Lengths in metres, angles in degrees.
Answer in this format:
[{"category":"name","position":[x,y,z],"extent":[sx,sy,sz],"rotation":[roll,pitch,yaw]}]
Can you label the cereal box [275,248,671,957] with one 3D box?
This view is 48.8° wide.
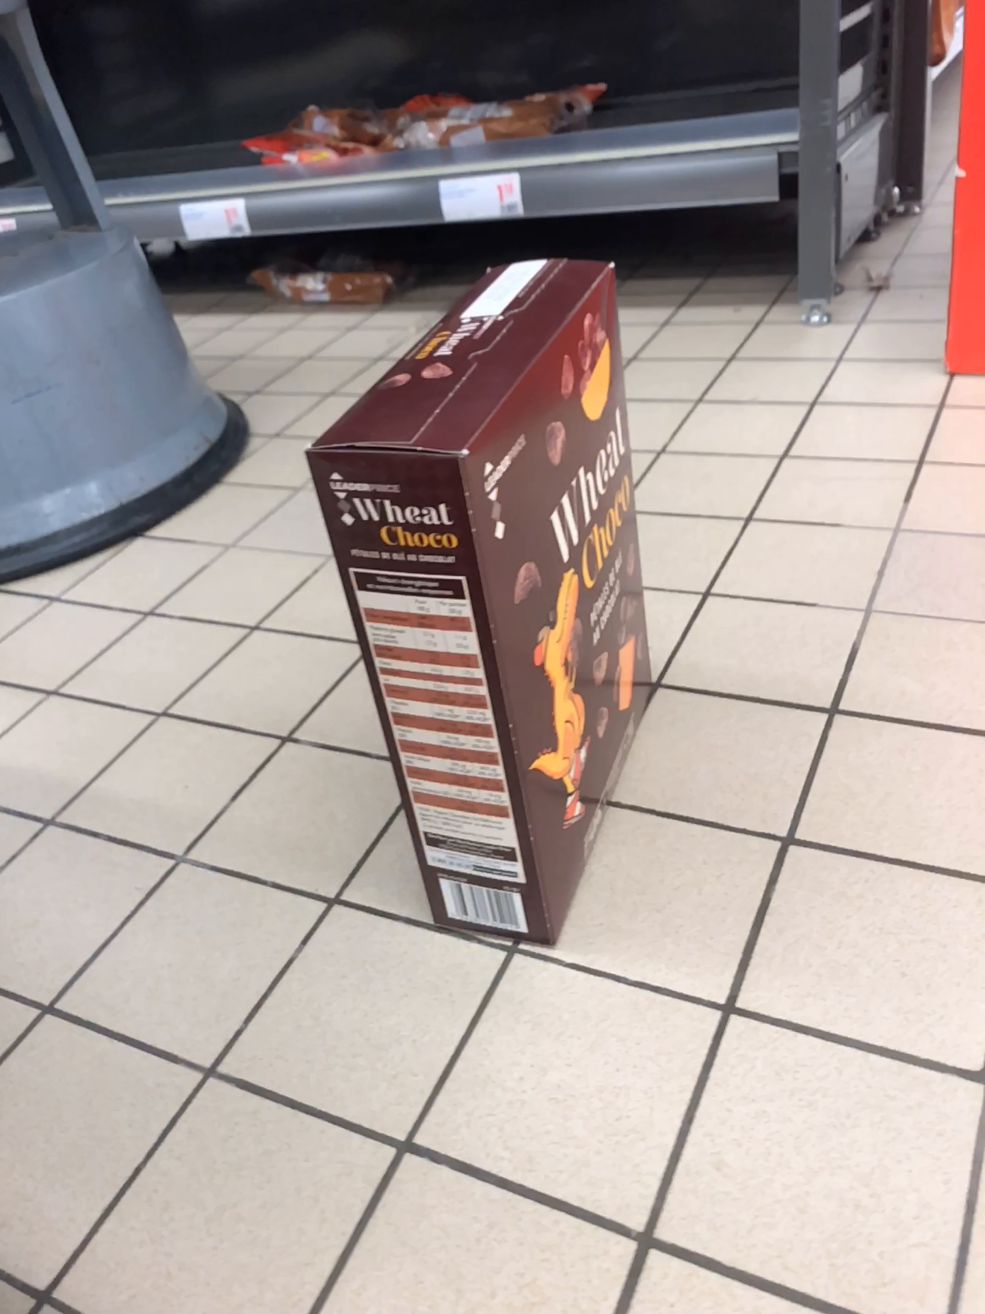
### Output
[{"category":"cereal box","position":[0.015,-0.029,0.502],"extent":[0.070,0.249,0.201],"rotation":[4,37,23]}]
